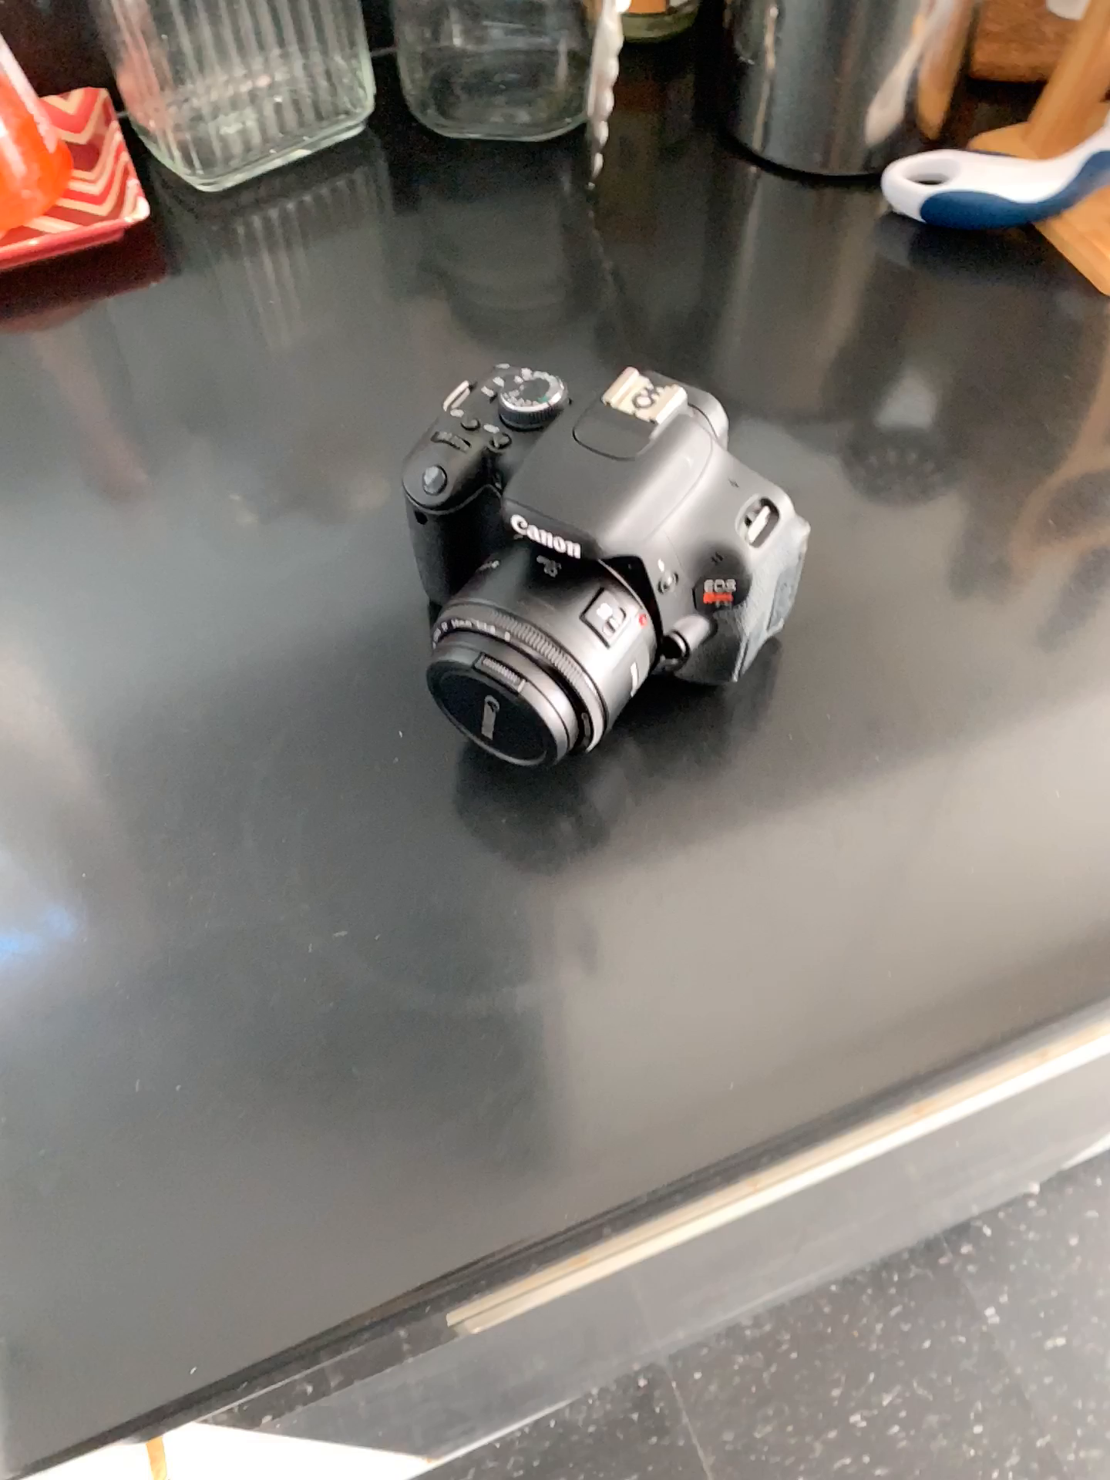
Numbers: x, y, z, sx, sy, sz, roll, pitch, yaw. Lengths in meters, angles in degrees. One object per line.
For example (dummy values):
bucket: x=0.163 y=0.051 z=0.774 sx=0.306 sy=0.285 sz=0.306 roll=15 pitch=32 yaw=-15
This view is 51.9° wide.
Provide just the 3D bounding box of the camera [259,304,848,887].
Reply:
camera: x=0.004 y=-0.057 z=0.421 sx=0.140 sy=0.100 sz=0.145 roll=27 pitch=62 yaw=19
